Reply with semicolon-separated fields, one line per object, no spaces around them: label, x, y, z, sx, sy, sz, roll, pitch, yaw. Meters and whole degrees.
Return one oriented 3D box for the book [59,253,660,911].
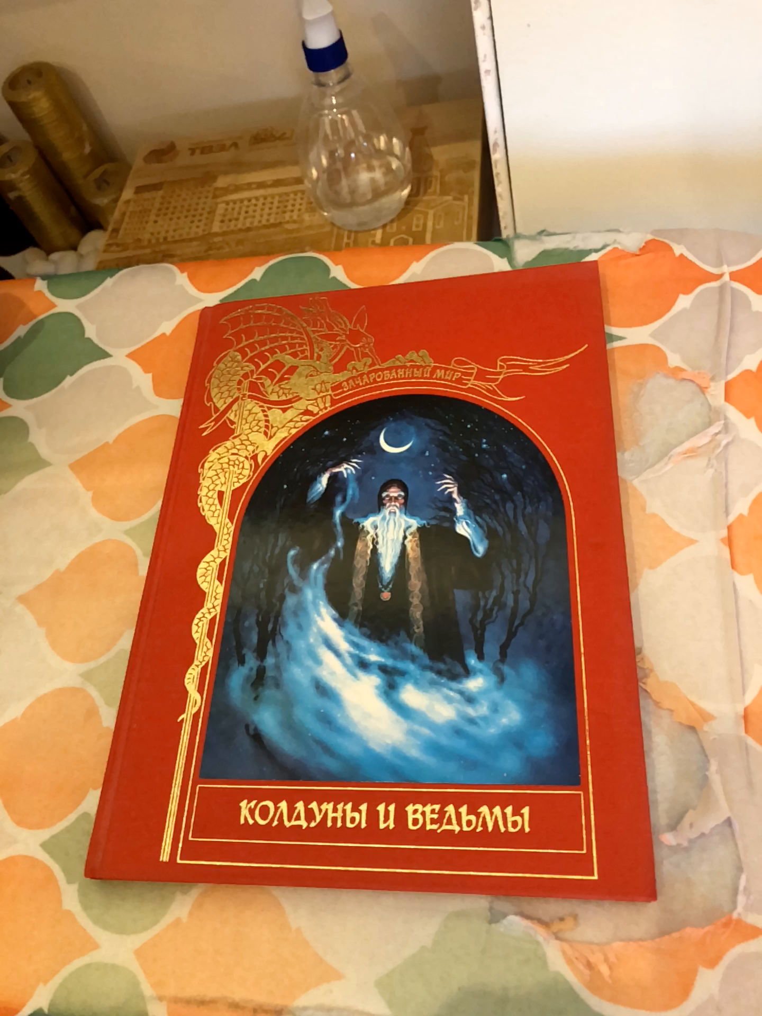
book;-0.005;0.012;0.372;0.215;0.020;0.291;-4;59;13
